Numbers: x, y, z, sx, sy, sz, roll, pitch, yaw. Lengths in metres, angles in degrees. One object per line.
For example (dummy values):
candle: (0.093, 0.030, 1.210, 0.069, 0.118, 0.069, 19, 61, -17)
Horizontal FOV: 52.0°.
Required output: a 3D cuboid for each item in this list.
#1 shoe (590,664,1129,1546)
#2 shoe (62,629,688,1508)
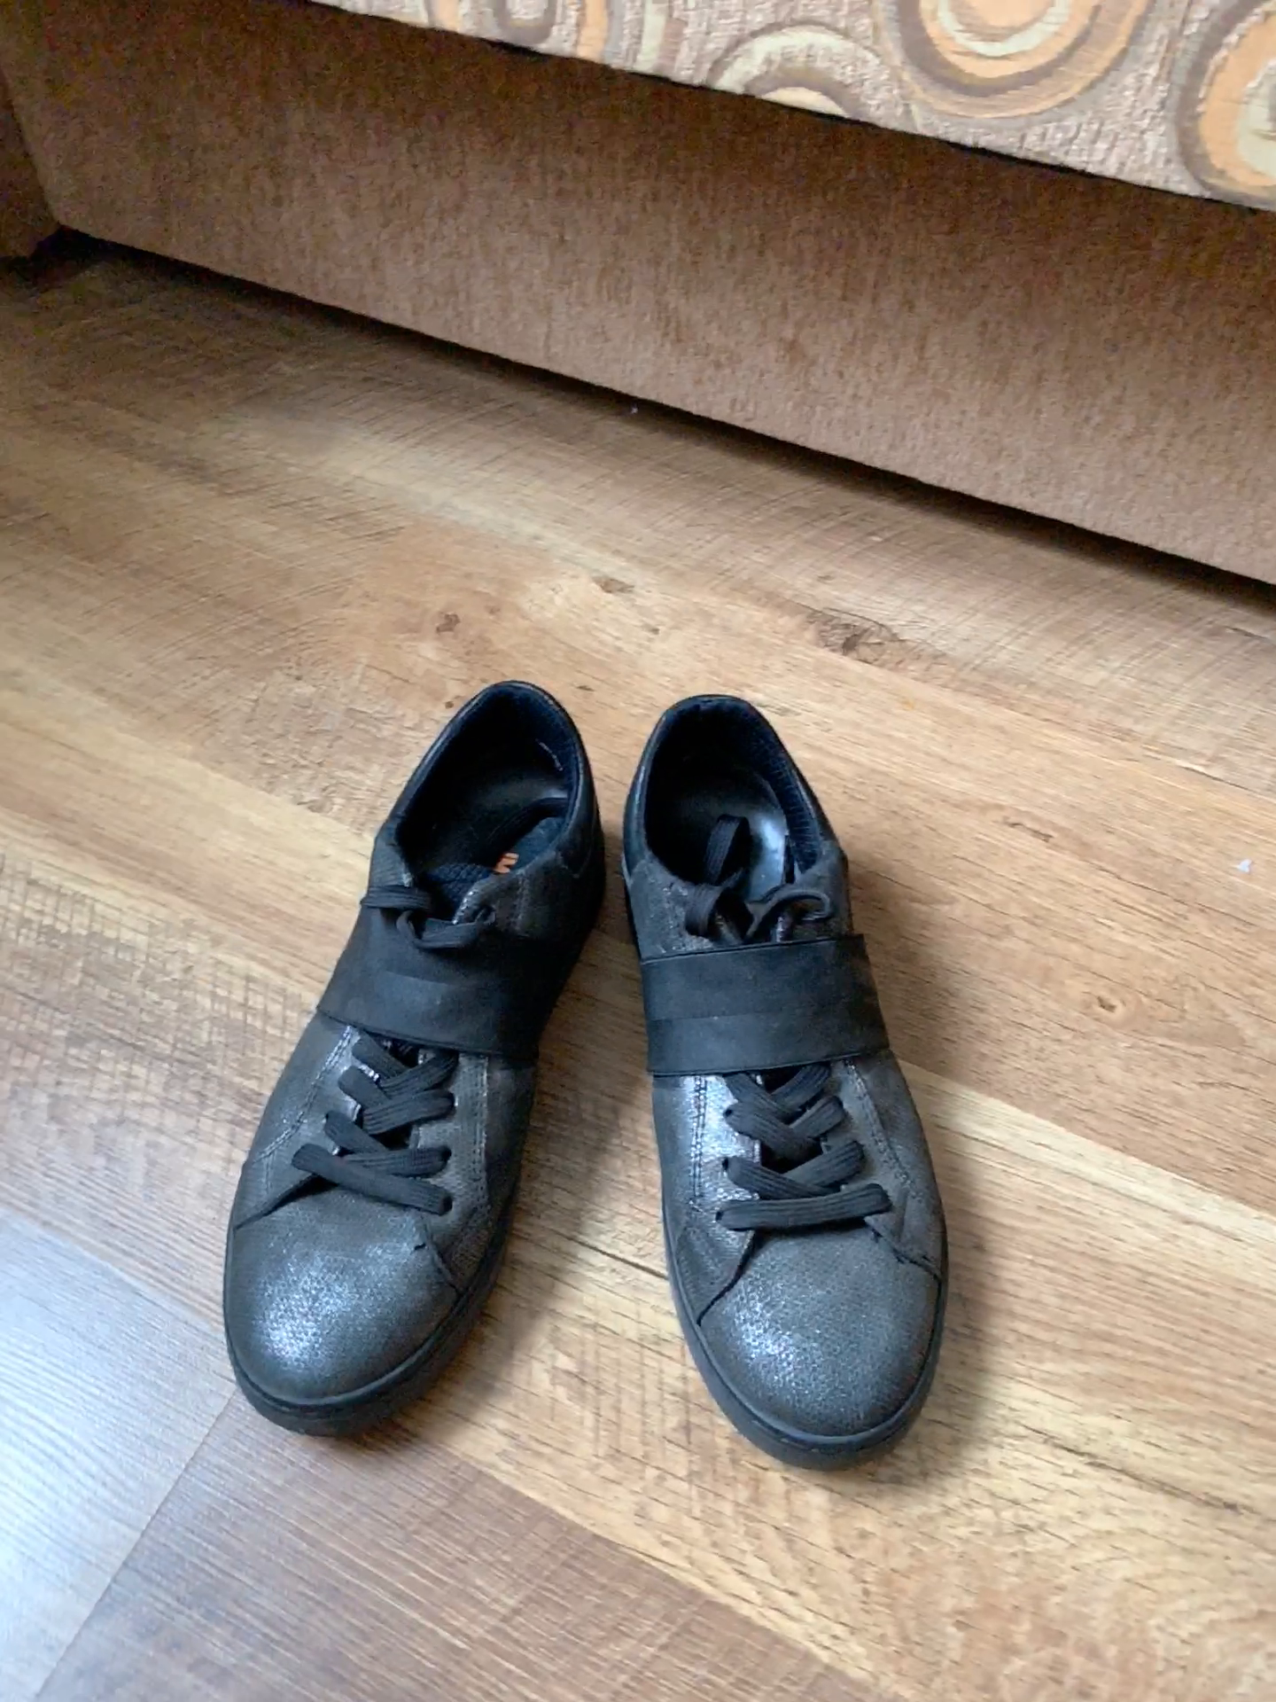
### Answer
shoe: (0.051, 0.067, 0.428, 0.100, 0.090, 0.261, -7, 52, -5)
shoe: (-0.063, 0.055, 0.433, 0.100, 0.090, 0.261, 12, 53, 9)
